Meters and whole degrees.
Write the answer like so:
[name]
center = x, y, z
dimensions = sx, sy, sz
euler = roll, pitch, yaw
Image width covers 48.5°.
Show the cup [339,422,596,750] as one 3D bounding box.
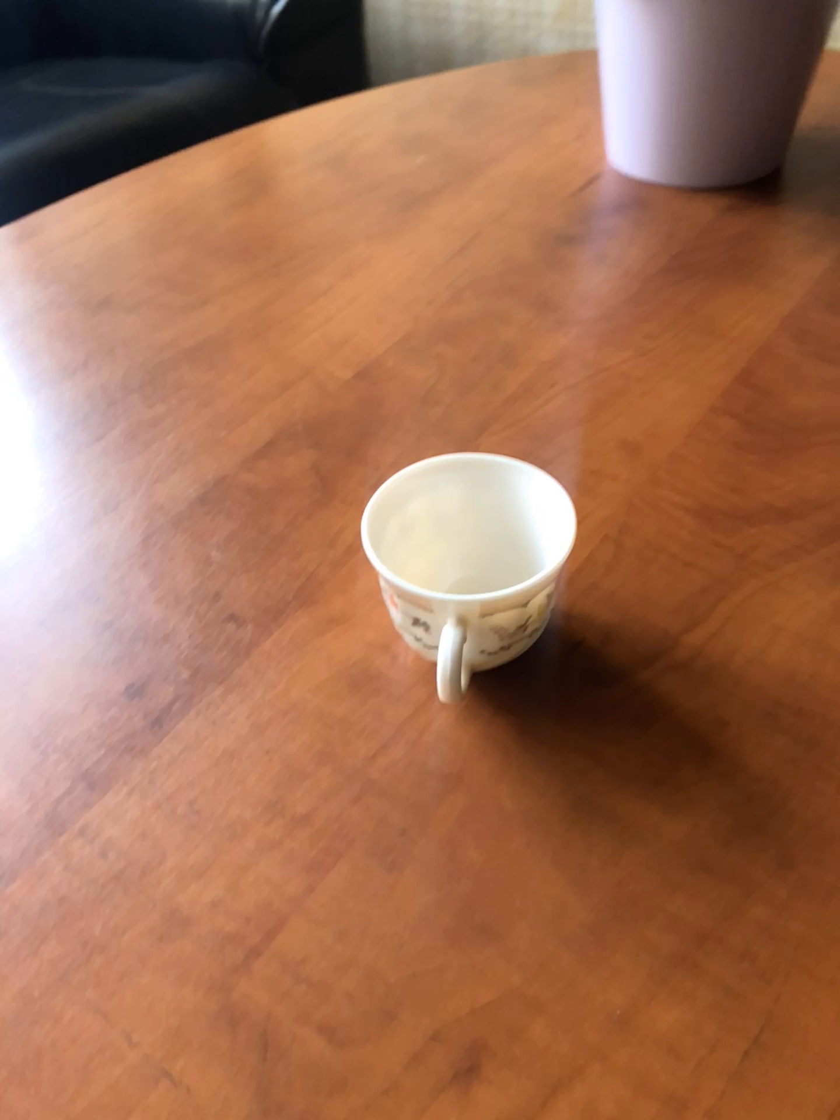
[cup]
center = 0.017, 0.005, 0.274
dimensions = 0.063, 0.048, 0.084
euler = 2, 45, 7
